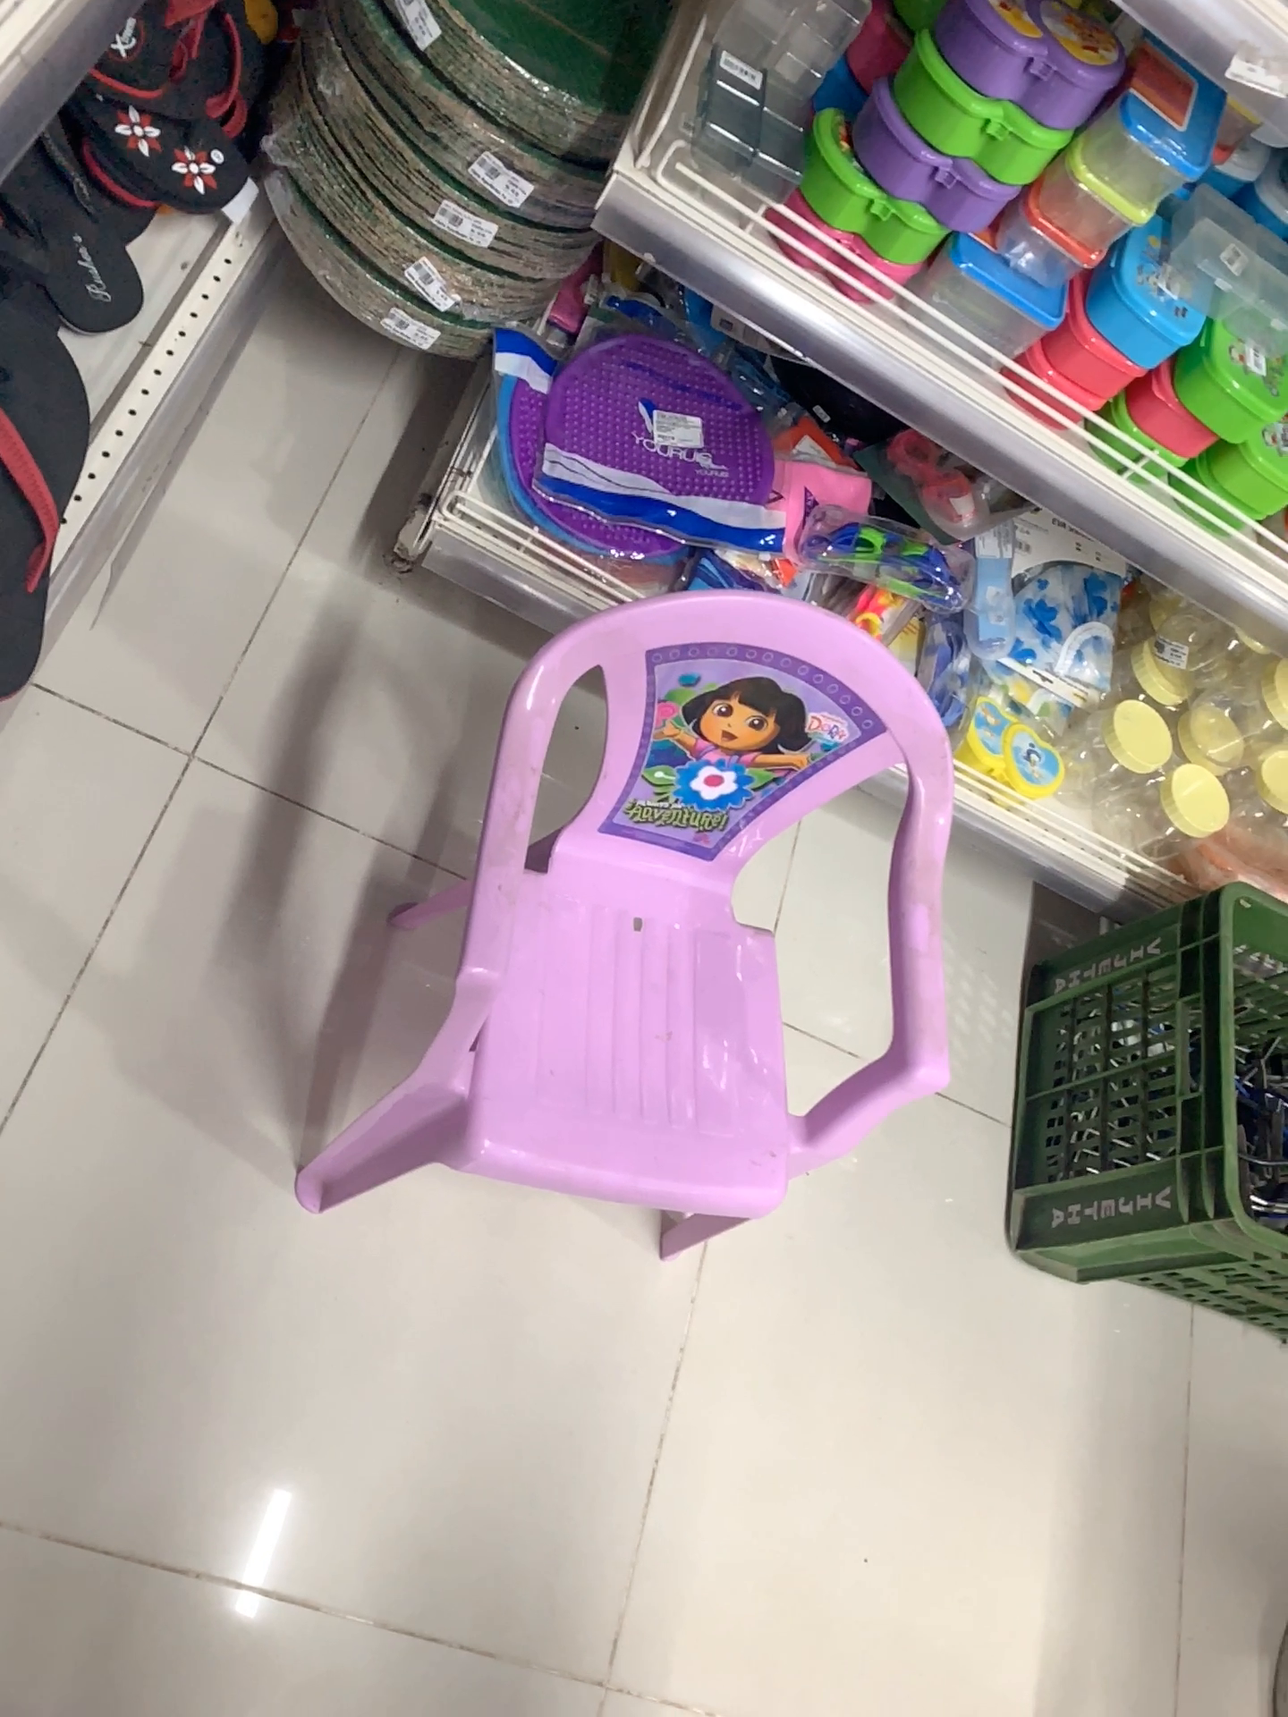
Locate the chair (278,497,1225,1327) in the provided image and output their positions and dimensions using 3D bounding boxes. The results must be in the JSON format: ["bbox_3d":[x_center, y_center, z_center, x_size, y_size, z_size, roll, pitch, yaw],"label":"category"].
[{"bbox_3d":[0.038,0.092,0.848,0.401,0.429,0.340,15,63,-22],"label":"chair"}]
